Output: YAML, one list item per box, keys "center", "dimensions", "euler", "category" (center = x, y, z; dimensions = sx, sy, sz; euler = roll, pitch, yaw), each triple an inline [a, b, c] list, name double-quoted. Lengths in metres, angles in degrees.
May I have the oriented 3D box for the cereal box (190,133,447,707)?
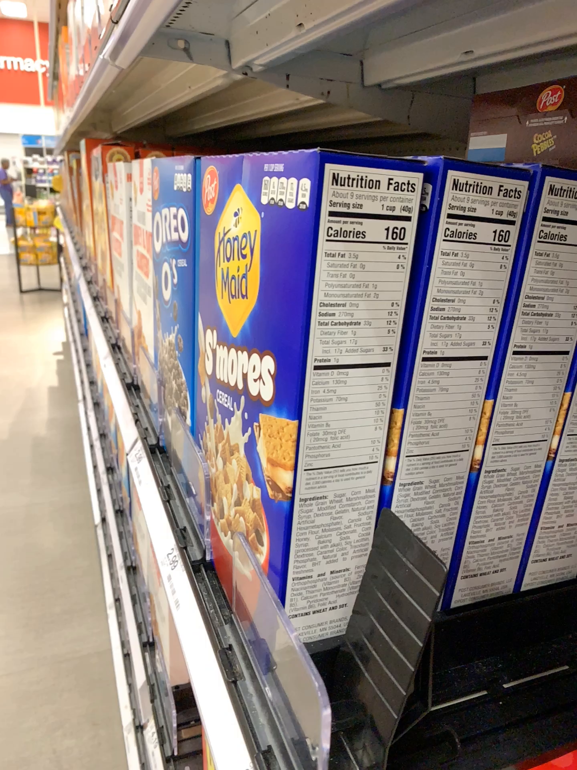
- center: [-0.007, 0.003, 0.355]
  dimensions: [0.060, 0.269, 0.191]
  euler: [-2, 19, -20]
  category: "cereal box"

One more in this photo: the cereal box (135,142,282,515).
- center: [-0.082, -0.058, 0.513]
  dimensions: [0.070, 0.269, 0.181]
  euler: [-3, 19, -23]
  category: "cereal box"
